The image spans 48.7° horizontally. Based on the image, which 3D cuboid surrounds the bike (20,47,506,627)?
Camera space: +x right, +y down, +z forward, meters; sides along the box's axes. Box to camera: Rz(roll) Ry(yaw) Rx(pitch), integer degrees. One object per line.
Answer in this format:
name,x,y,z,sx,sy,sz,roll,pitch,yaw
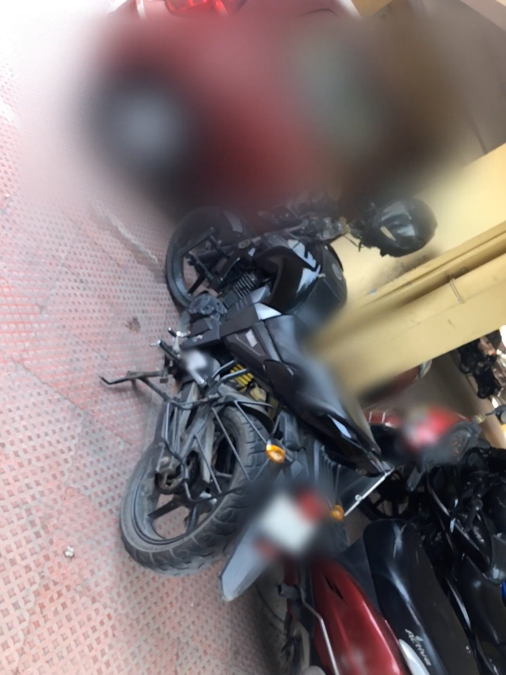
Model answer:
bike,-0.043,-0.131,2.091,0.739,1.027,1.787,45,26,-38
